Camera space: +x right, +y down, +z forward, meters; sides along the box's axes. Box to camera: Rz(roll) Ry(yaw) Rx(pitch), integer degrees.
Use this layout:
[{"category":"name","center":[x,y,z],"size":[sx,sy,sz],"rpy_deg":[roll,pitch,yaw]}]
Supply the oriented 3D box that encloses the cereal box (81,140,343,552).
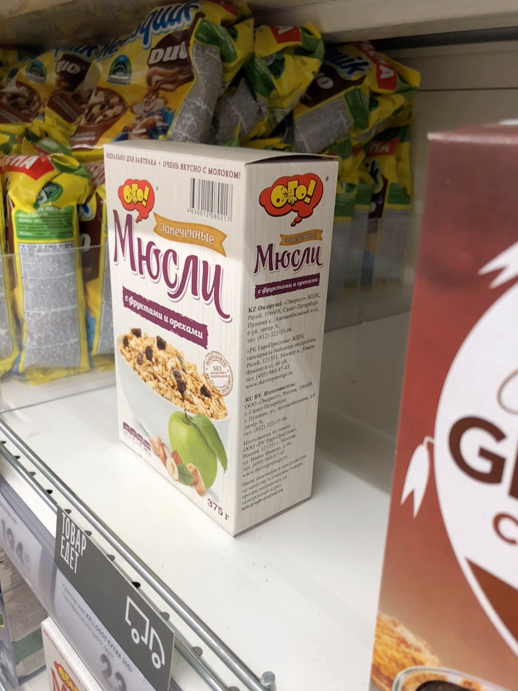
[{"category":"cereal box","center":[-0.035,-0.012,0.341],"size":[0.070,0.199,0.140],"rpy_deg":[-15,26,-38]}]
